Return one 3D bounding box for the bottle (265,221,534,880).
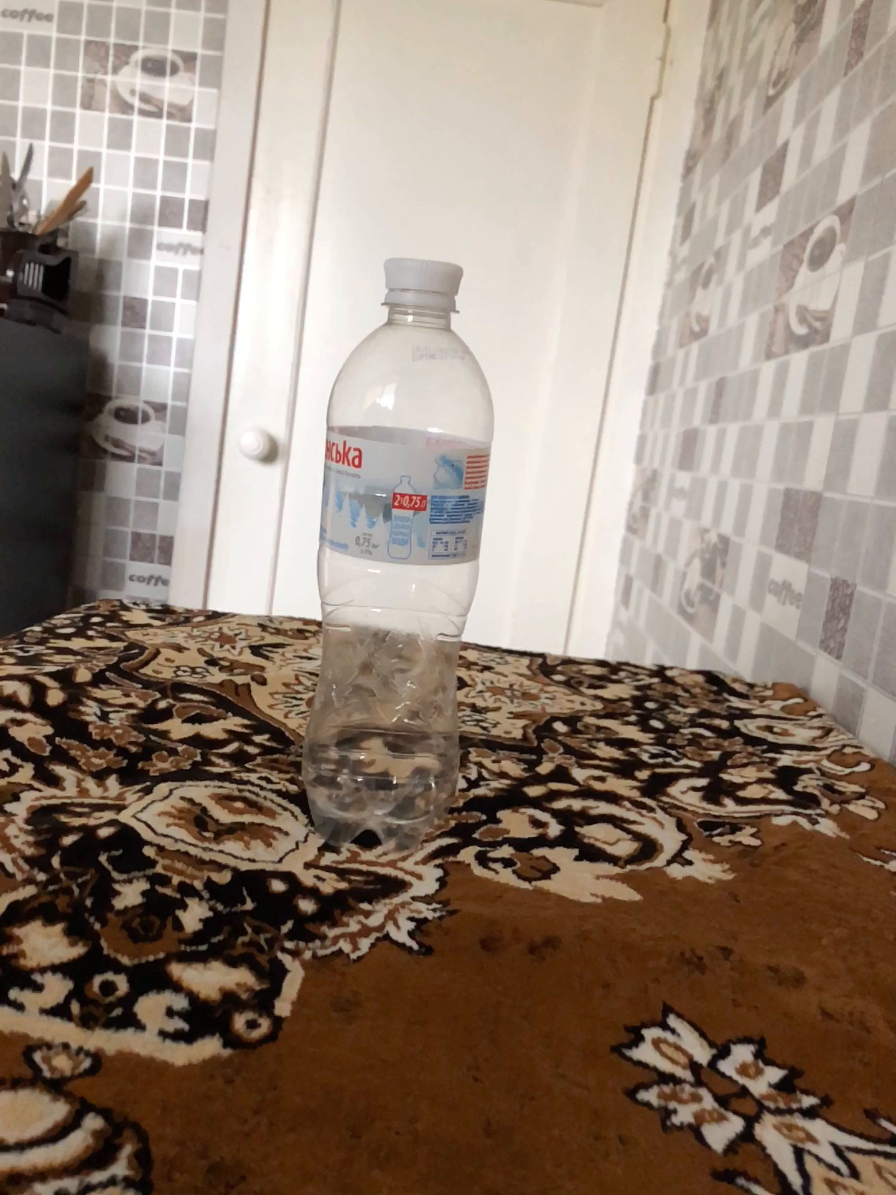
[{"bbox_3d":[-0.021,-0.020,0.425,0.080,0.249,0.090,6,11,0],"label":"bottle"}]
